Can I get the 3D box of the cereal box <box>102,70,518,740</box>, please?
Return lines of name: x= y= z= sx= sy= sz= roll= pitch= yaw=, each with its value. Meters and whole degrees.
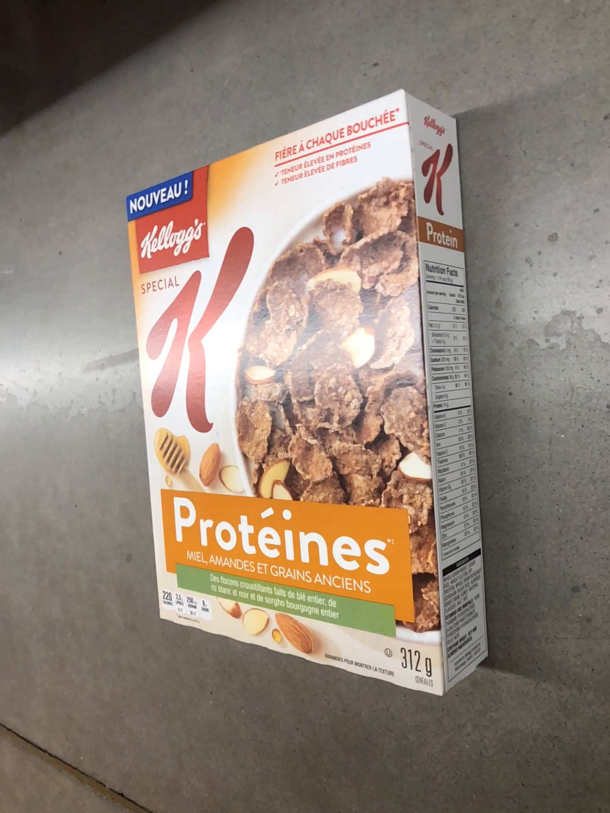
cereal box: x=-0.010 y=0.004 z=0.335 sx=0.201 sy=0.050 sz=0.250 roll=-3 pitch=94 yaw=41
